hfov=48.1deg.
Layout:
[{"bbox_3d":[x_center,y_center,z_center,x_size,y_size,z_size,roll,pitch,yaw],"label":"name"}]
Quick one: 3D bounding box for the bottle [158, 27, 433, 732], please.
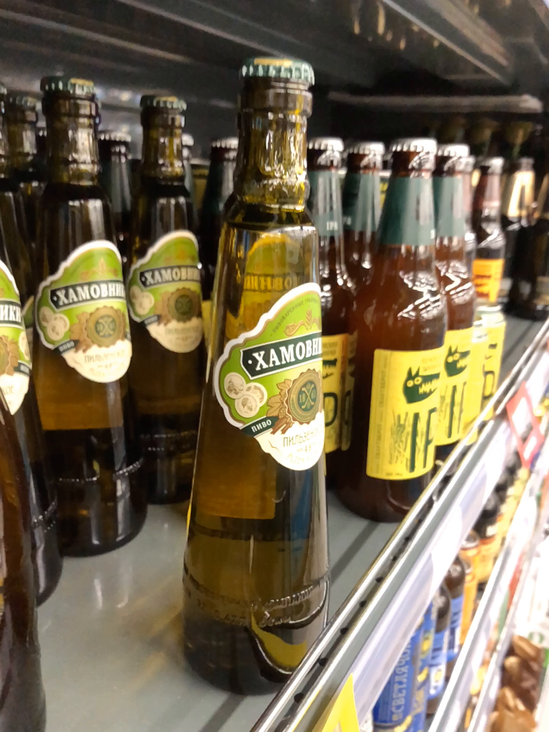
[{"bbox_3d":[0.002,0.013,0.259,0.070,0.261,0.070,3,18,-1],"label":"bottle"}]
